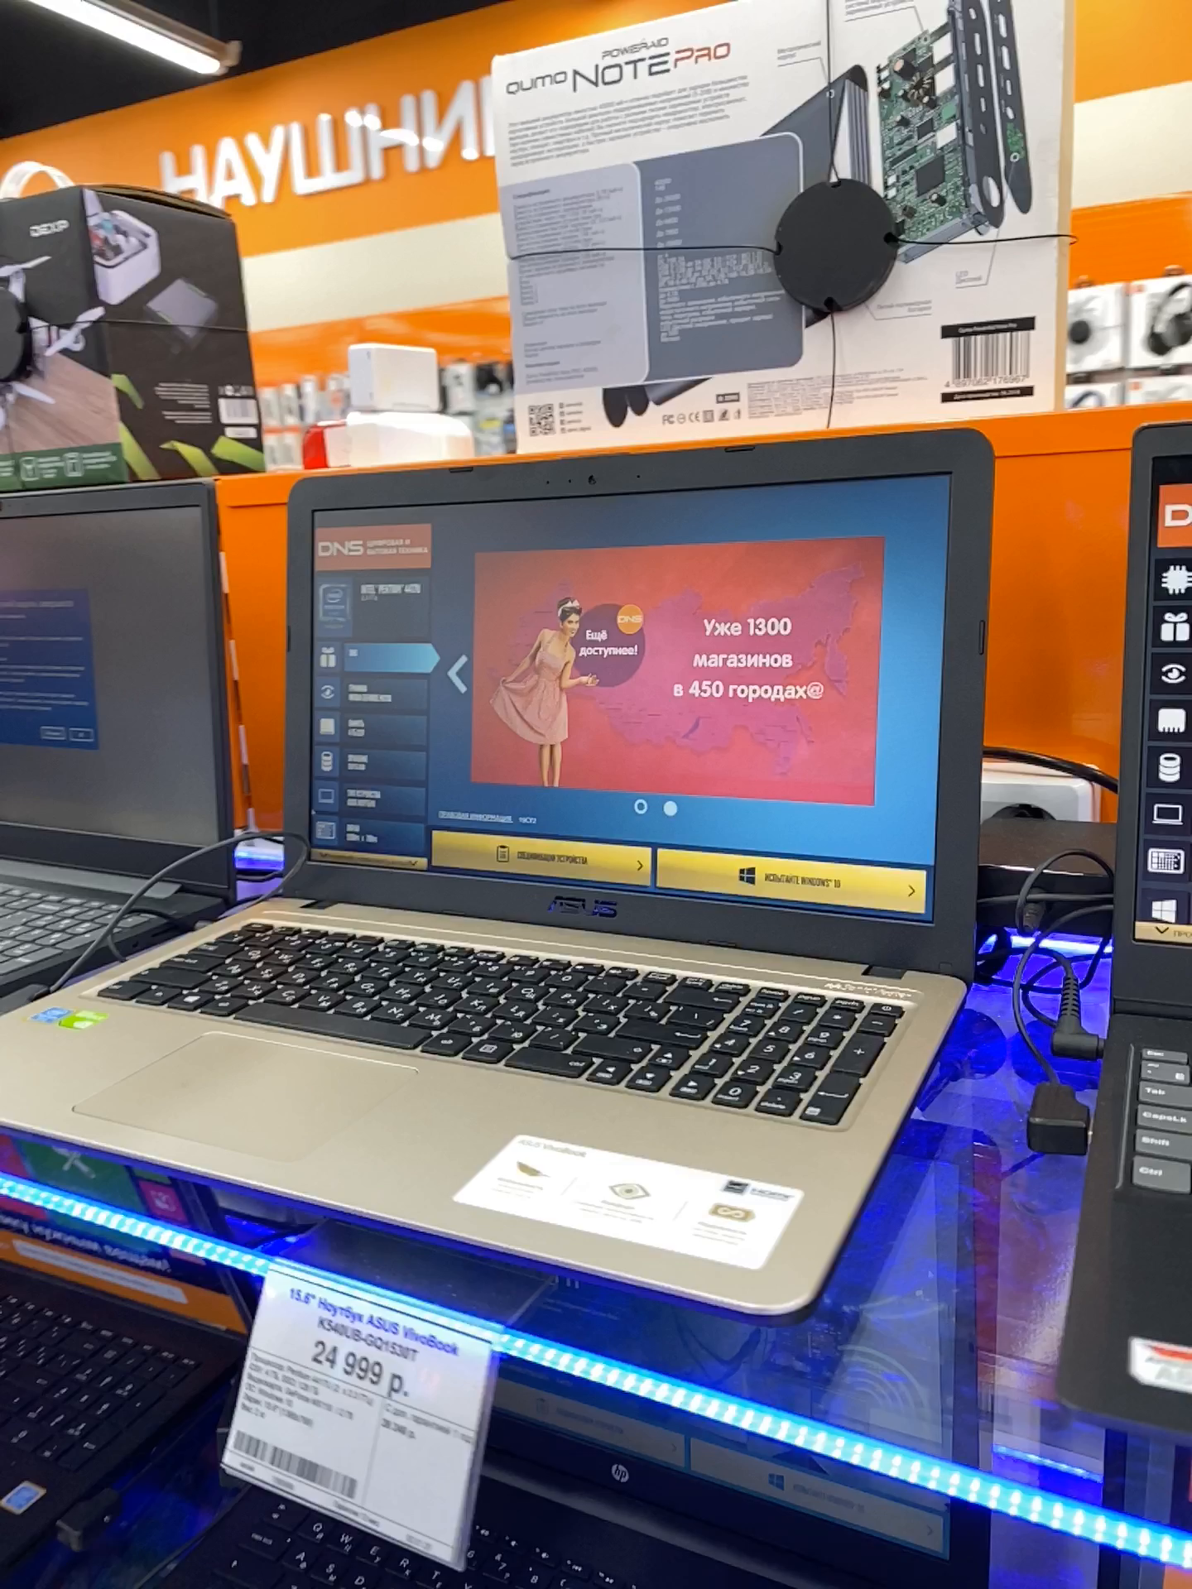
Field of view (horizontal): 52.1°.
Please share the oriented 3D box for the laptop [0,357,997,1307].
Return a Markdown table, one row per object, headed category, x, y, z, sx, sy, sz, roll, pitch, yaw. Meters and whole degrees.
| category | x | y | z | sx | sy | sz | roll | pitch | yaw |
| --- | --- | --- | --- | --- | --- | --- | --- | --- | --- |
| laptop | -0.057 | -0.022 | 0.501 | 0.377 | 0.231 | 0.293 | 3 | 13 | 26 |
